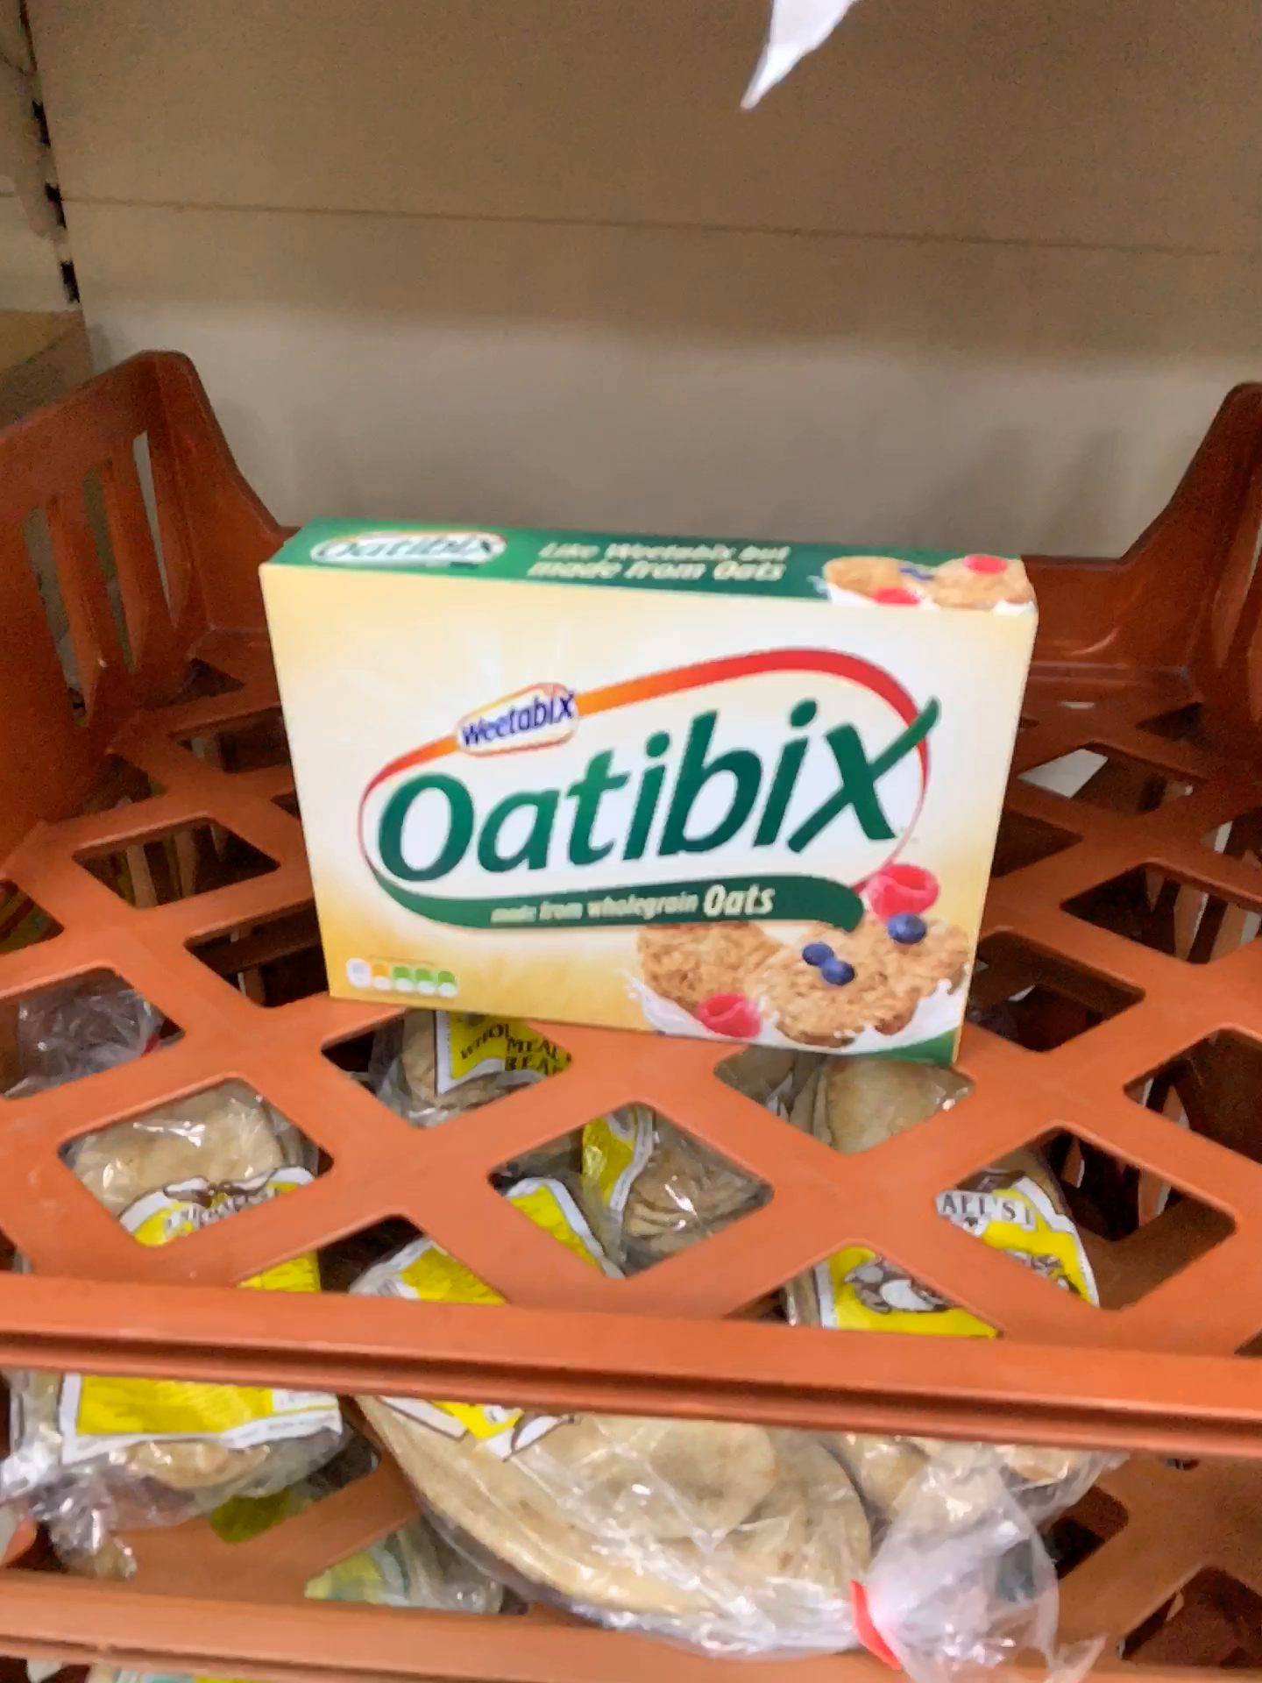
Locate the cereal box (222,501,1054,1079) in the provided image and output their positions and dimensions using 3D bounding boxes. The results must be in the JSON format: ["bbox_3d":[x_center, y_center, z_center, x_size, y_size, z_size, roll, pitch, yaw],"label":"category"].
[{"bbox_3d":[0.001,-0.019,0.470,0.260,0.178,0.071,5,32,7],"label":"cereal box"}]
